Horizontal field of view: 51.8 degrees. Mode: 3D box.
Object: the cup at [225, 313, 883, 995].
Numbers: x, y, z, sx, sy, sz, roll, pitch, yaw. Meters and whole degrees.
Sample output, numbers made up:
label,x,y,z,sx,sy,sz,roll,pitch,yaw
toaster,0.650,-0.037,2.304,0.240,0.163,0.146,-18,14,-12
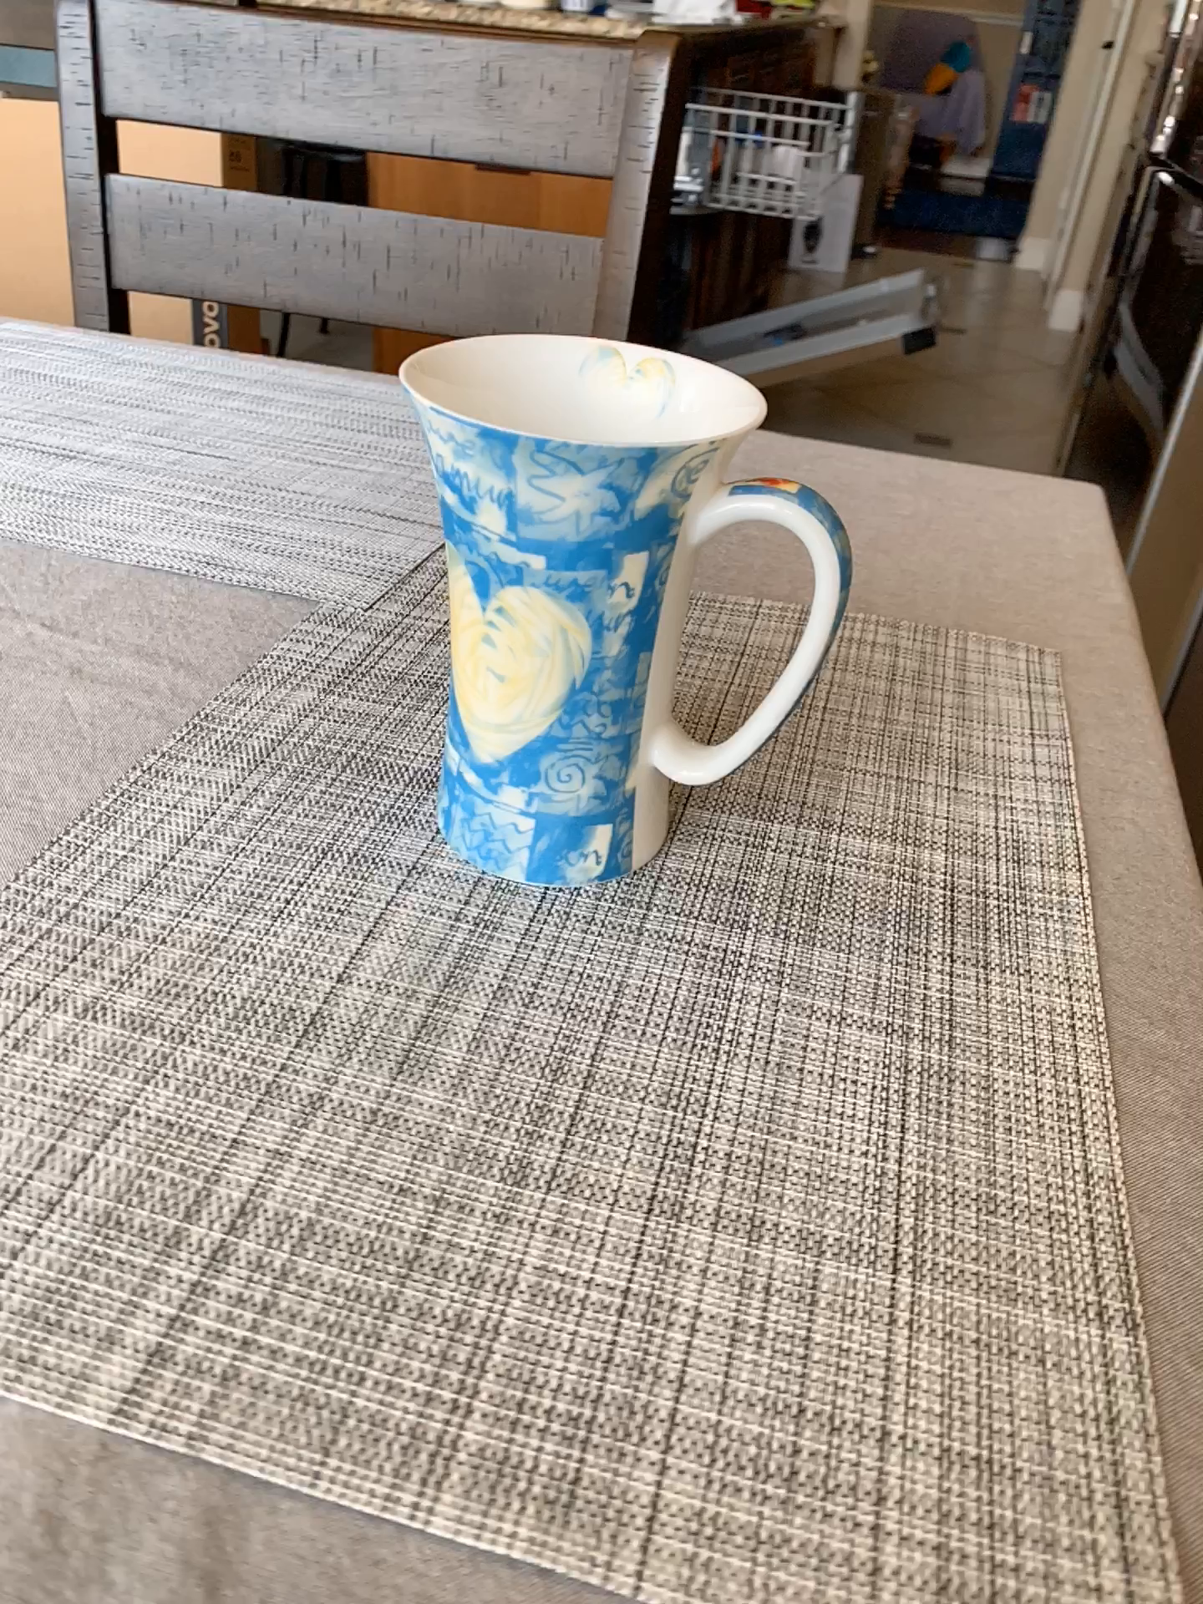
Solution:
label,x,y,z,sx,sy,sz,roll,pitch,yaw
cup,-0.013,-0.050,0.375,0.152,0.148,0.100,15,34,14
